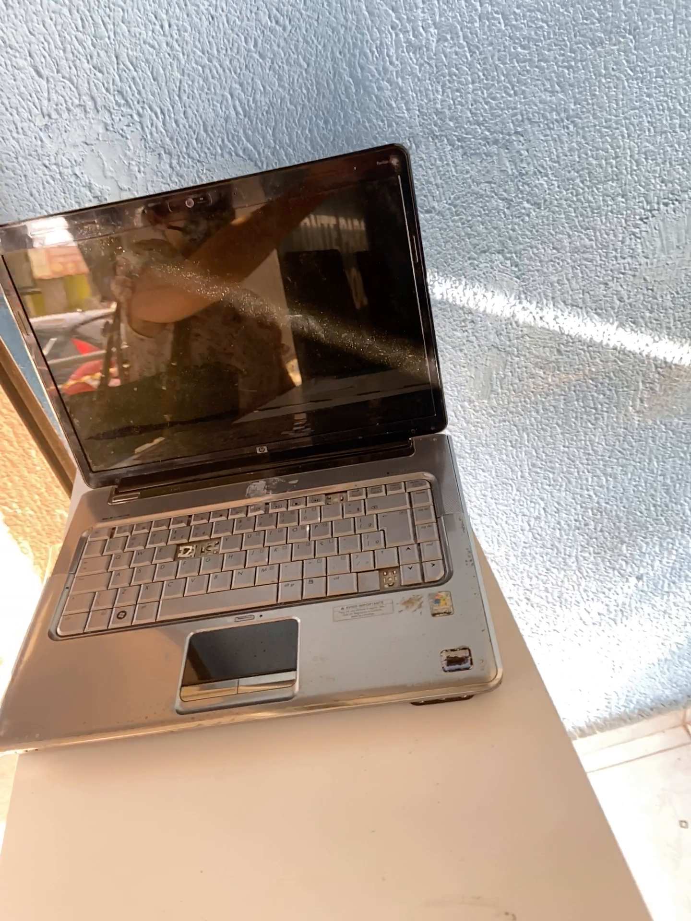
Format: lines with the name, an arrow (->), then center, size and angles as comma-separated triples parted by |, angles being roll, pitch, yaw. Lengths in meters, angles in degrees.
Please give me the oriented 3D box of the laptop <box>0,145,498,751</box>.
laptop -> -0.102, -0.025, 0.521 | 0.351, 0.233, 0.330 | -9, 39, 6
